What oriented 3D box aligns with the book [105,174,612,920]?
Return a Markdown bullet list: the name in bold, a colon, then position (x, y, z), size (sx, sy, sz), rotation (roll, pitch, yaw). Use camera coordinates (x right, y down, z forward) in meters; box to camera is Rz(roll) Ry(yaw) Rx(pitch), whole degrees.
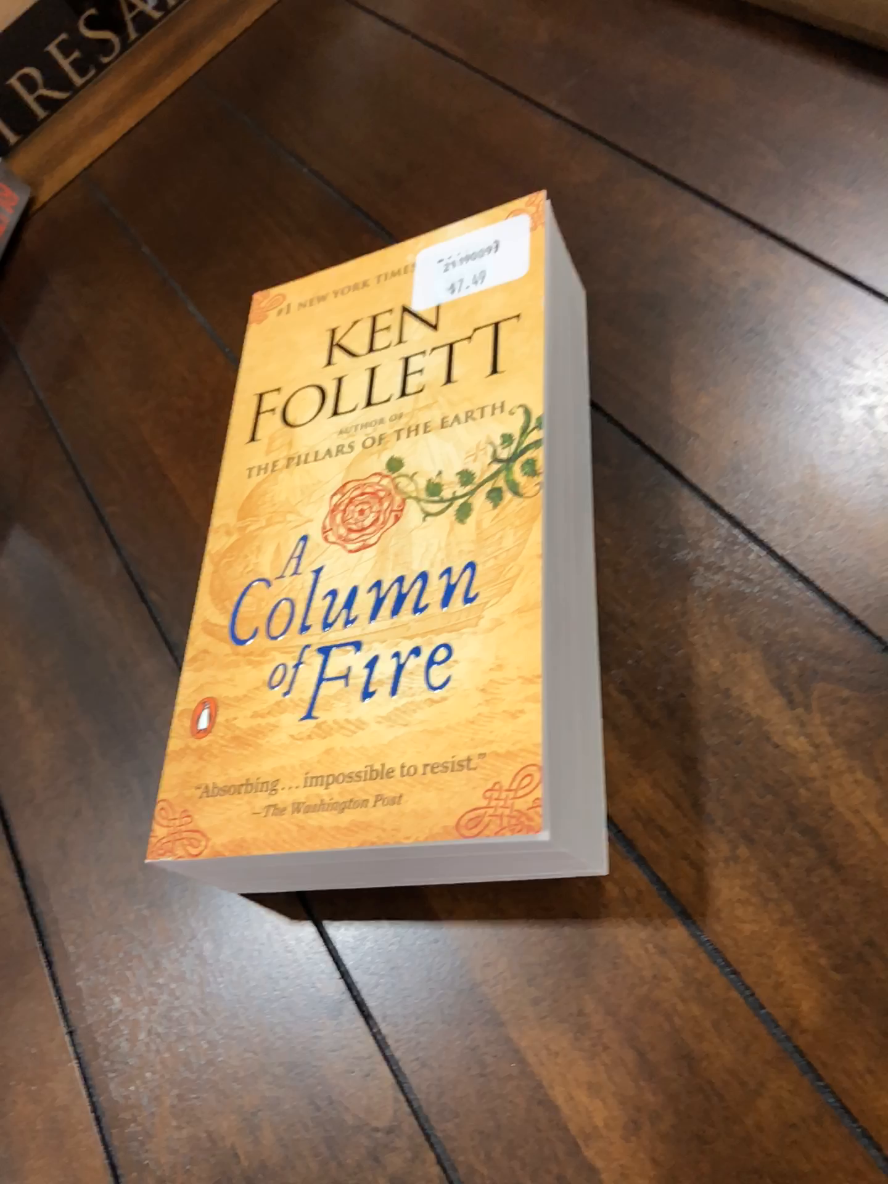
- **book**: position (-0.016, -0.016, 0.274), size (0.110, 0.040, 0.195), rotation (-10, 59, 22)
